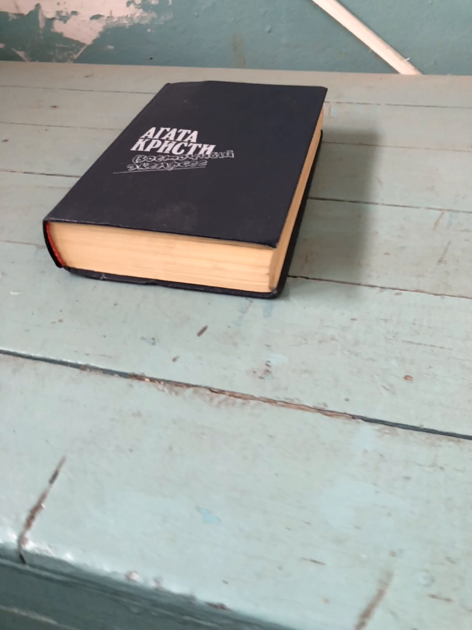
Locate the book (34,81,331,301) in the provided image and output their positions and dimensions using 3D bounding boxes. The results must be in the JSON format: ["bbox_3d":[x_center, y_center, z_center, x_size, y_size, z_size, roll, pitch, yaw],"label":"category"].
[{"bbox_3d":[-0.017,-0.101,0.359,0.138,0.040,0.211,7,44,12],"label":"book"}]
